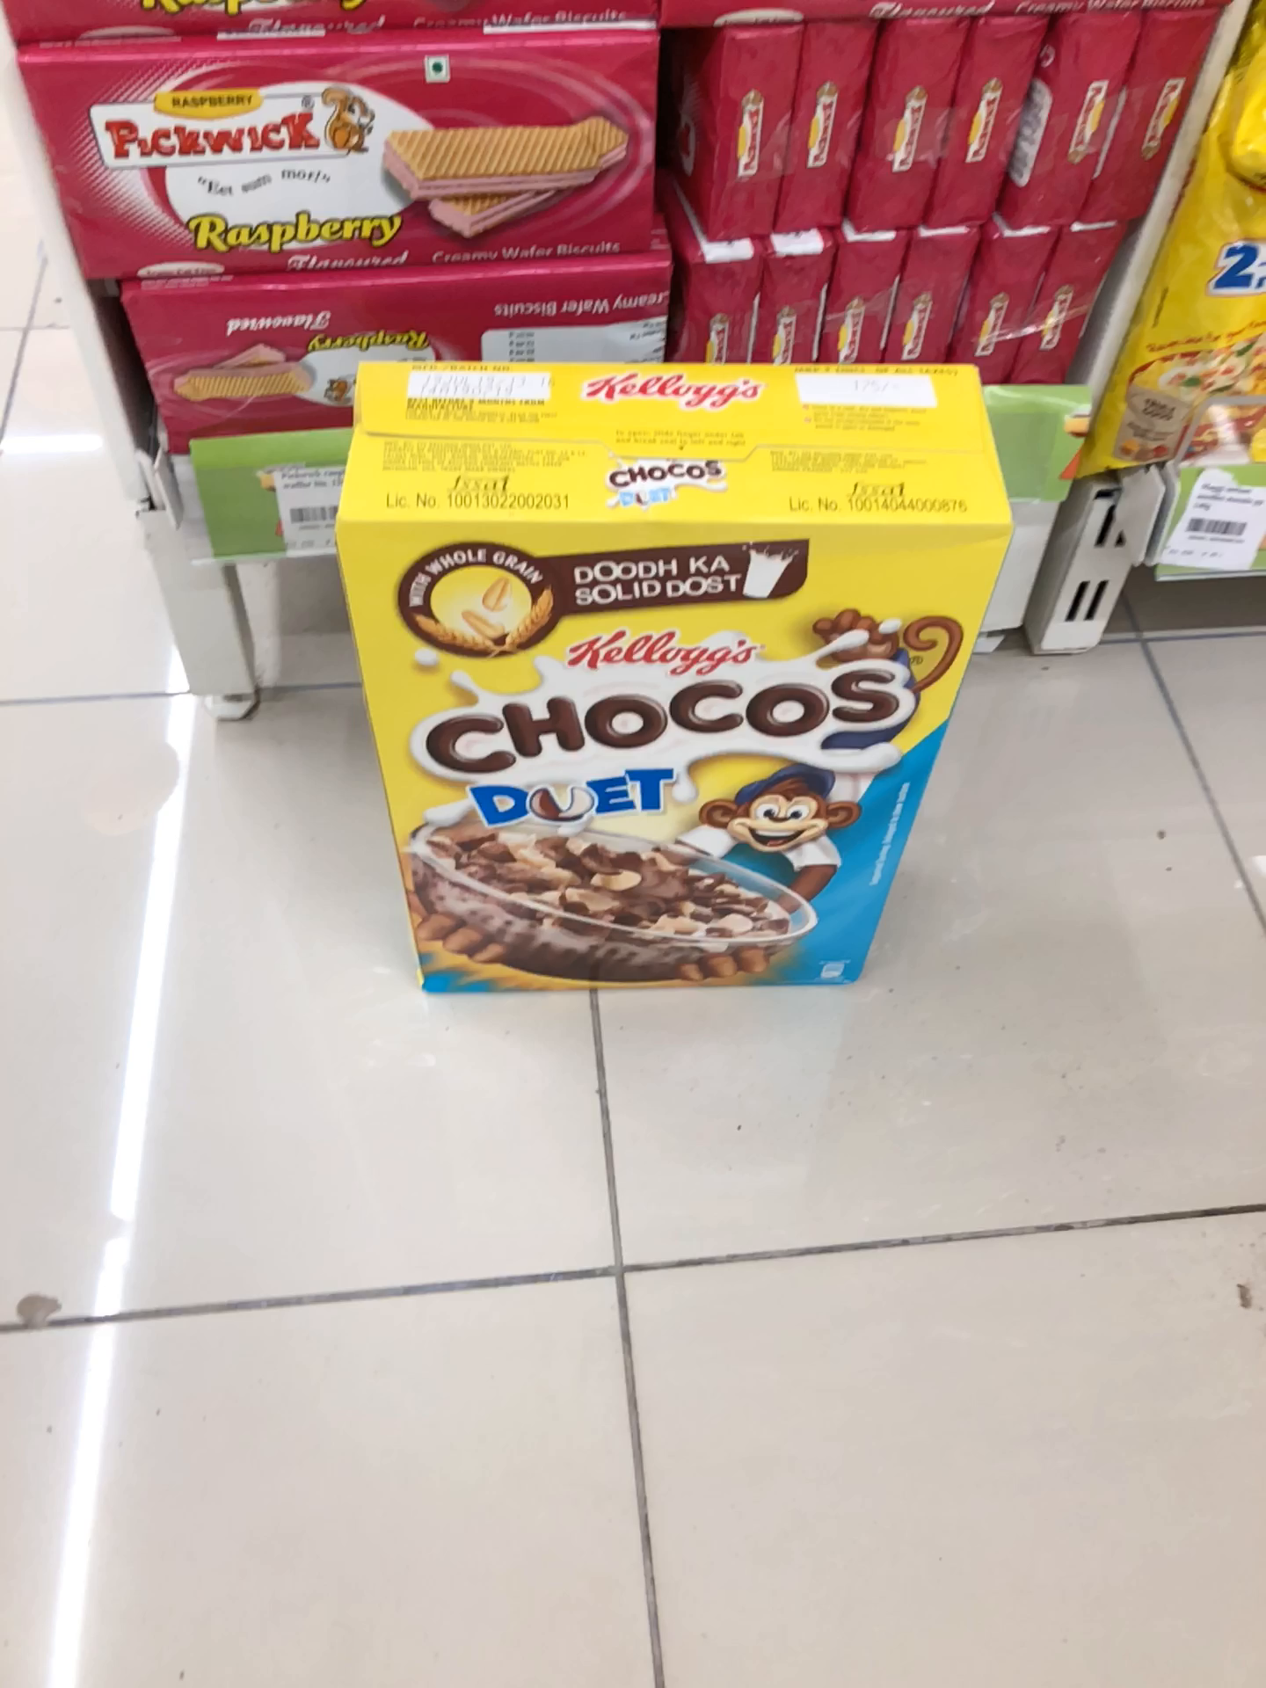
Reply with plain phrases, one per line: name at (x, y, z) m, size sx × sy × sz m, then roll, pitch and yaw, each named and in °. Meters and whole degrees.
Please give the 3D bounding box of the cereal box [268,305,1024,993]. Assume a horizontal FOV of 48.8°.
cereal box at (0.000, -0.047, 0.476) m, size 0.190 × 0.259 × 0.070 m, roll -1°, pitch 54°, yaw -2°
